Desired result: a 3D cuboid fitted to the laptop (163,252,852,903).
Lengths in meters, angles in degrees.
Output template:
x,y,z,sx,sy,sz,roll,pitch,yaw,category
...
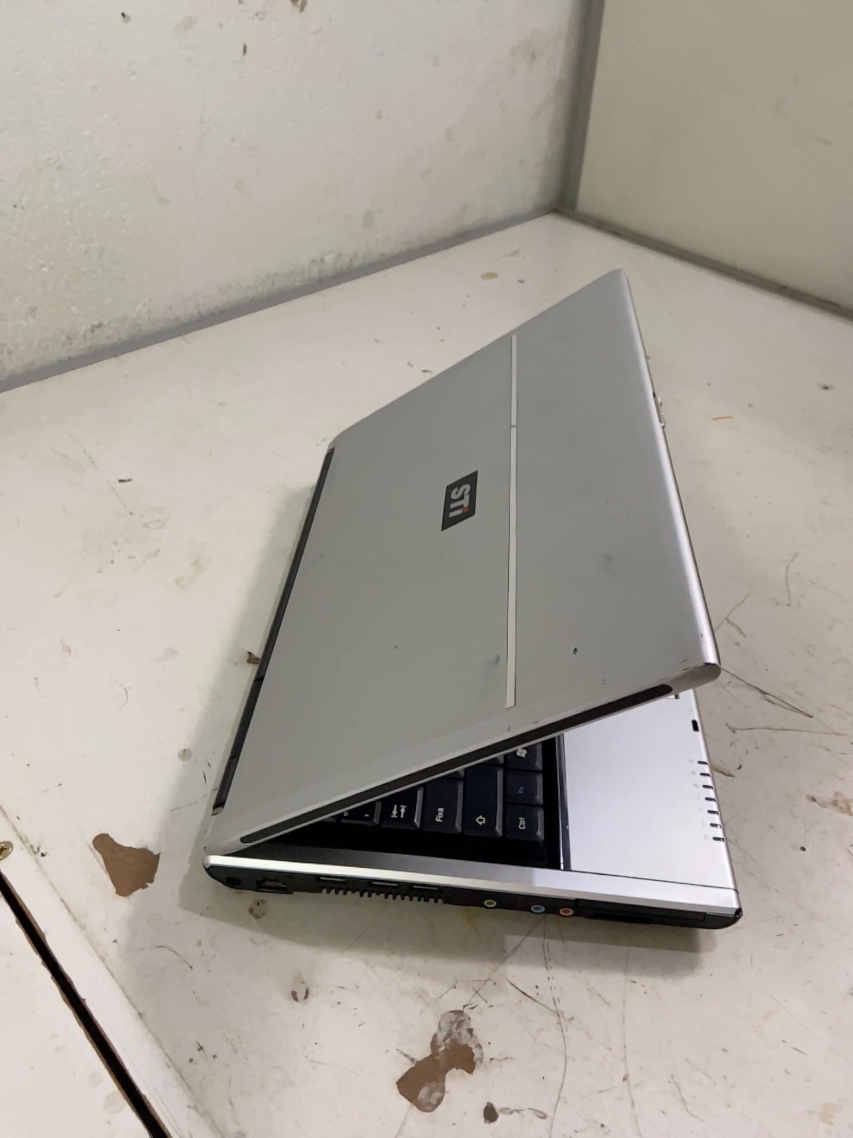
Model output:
x,y,z,sx,sy,sz,roll,pitch,yaw,category
0.037,-0.026,0.452,0.226,0.144,0.321,4,40,3,laptop
